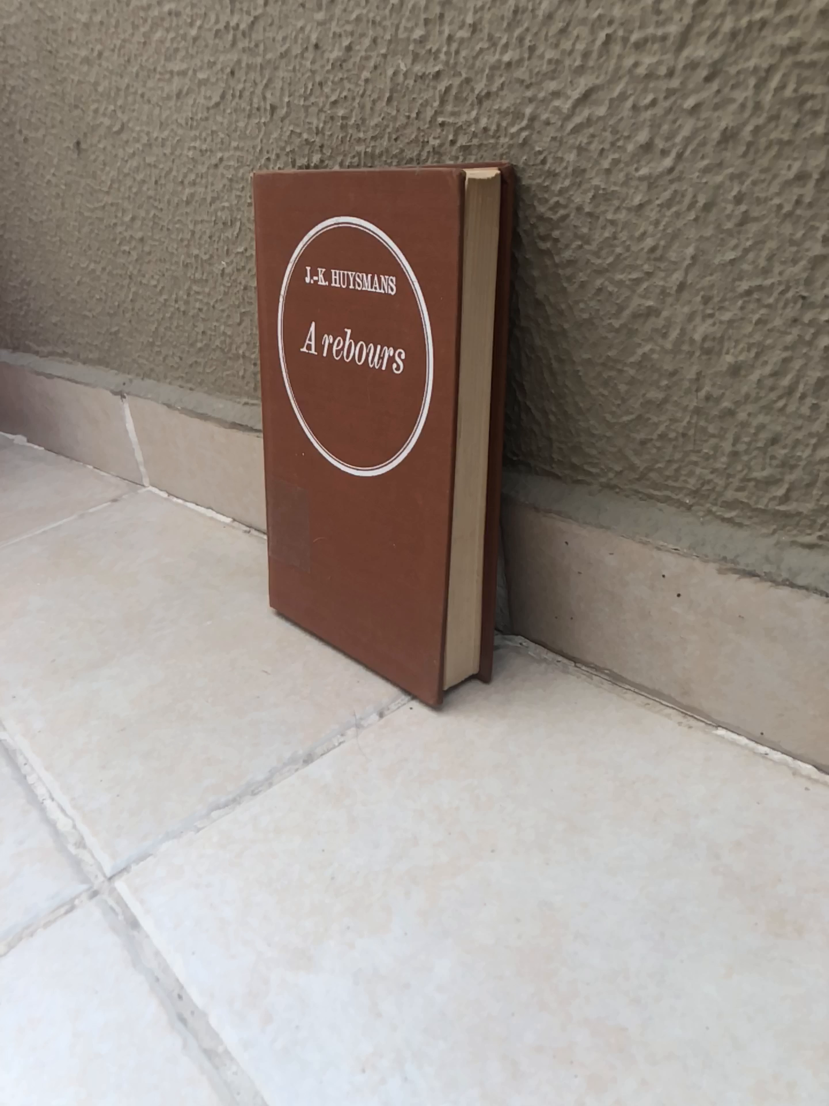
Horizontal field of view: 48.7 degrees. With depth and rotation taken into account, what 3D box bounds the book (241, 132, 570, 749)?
[{"bbox_3d":[-0.013,-0.051,0.375,0.040,0.209,0.151,-12,23,-36],"label":"book"}]
